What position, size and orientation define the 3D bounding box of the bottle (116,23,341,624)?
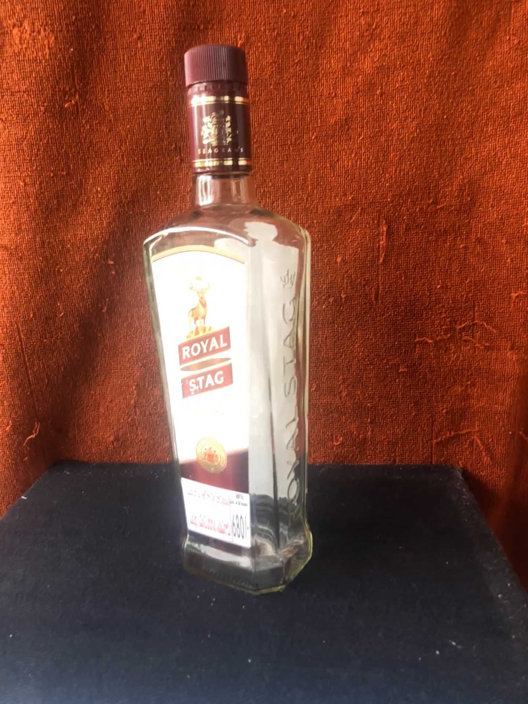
[{"bbox_3d":[-0.014,-0.006,0.318,0.090,0.289,0.060,7,18,26],"label":"bottle"}]
